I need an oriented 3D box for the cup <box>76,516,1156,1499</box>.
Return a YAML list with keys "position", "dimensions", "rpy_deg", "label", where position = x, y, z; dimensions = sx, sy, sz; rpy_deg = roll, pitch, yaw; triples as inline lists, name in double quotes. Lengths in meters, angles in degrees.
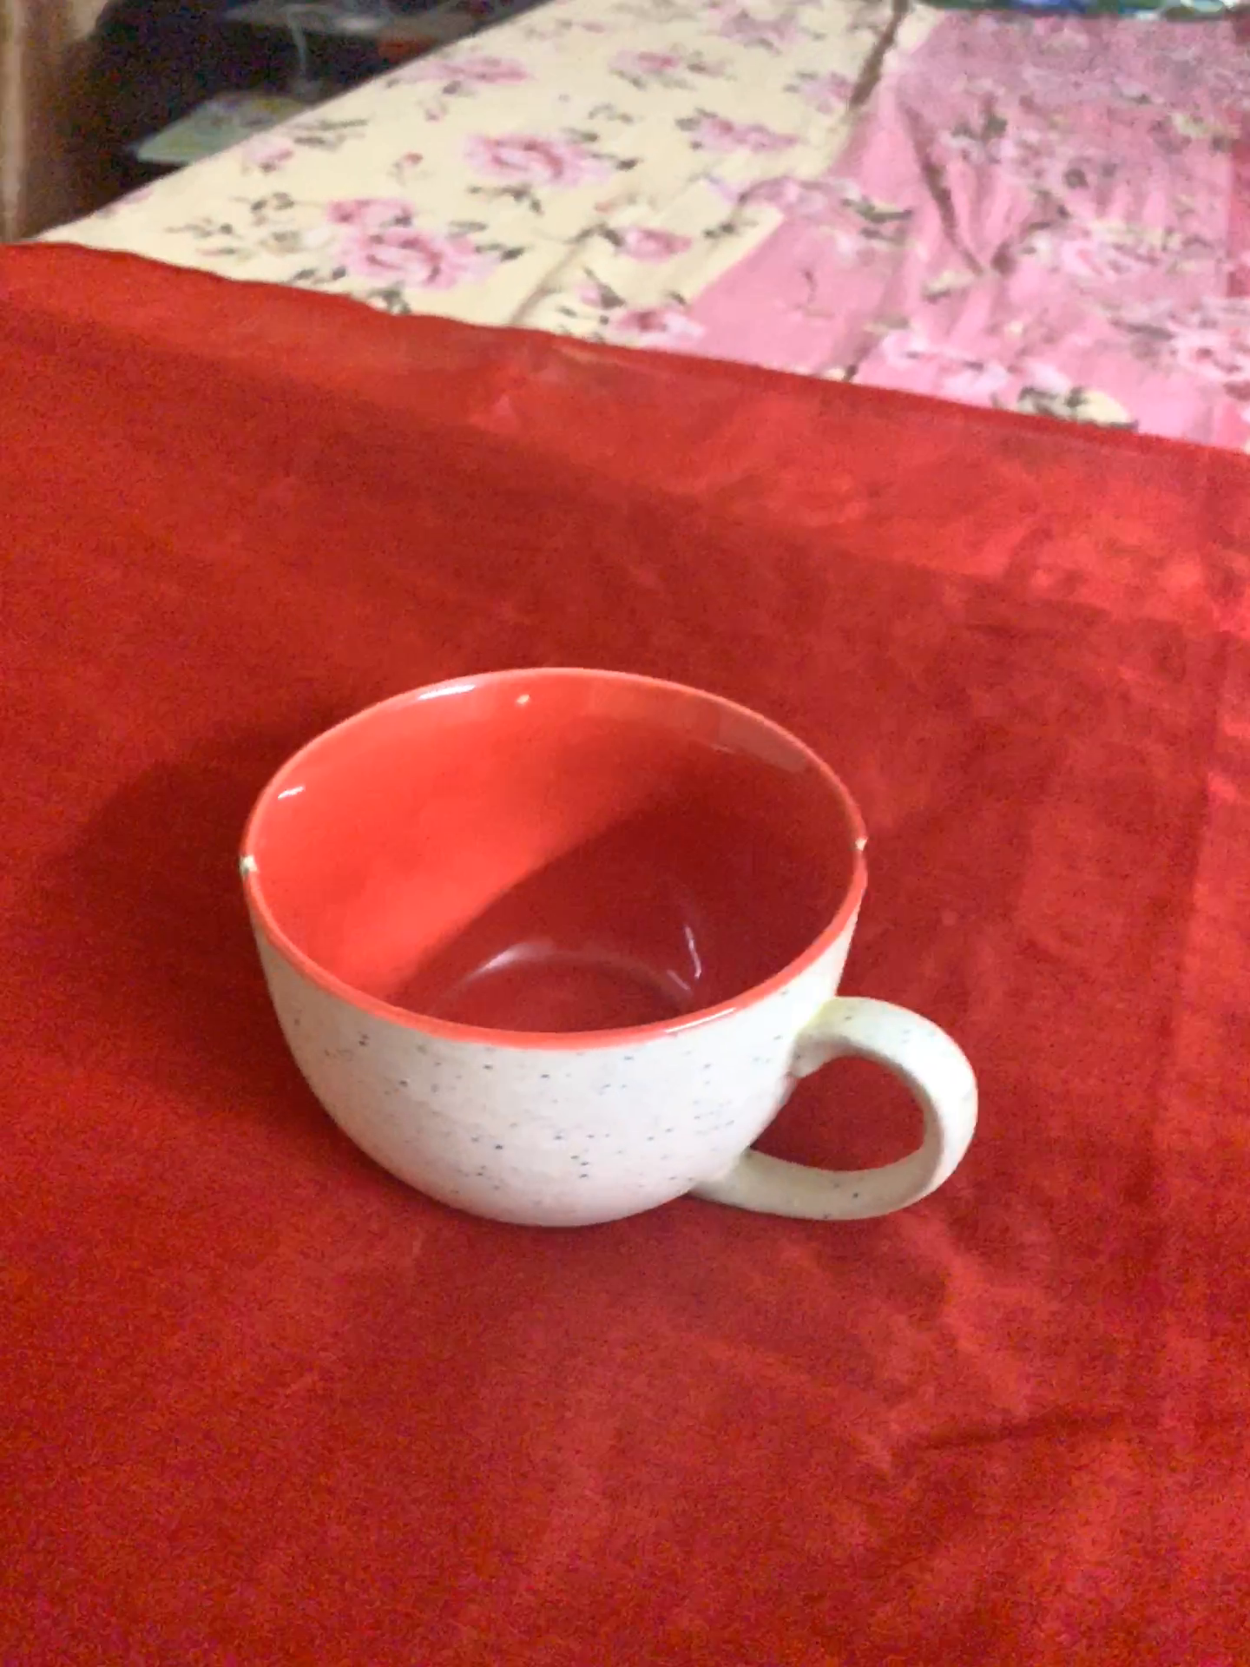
- position: [0.002, 0.015, 0.251]
  dimensions: [0.140, 0.069, 0.131]
  rpy_deg: [2, 40, -2]
  label: "cup"
